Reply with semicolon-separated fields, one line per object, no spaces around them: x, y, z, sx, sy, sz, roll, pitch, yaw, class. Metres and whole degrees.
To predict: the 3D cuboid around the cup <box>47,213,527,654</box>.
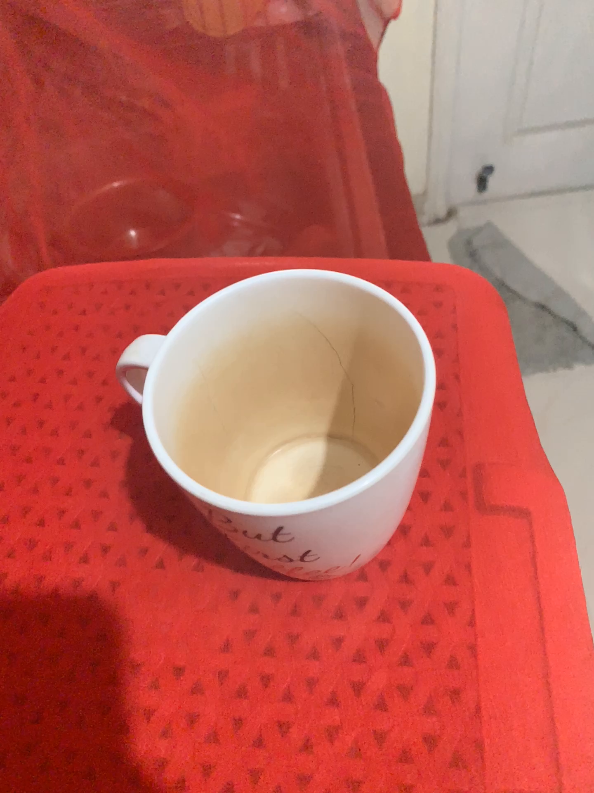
0.002;0.010;0.211;0.110;0.079;0.090;20;60;21;cup
